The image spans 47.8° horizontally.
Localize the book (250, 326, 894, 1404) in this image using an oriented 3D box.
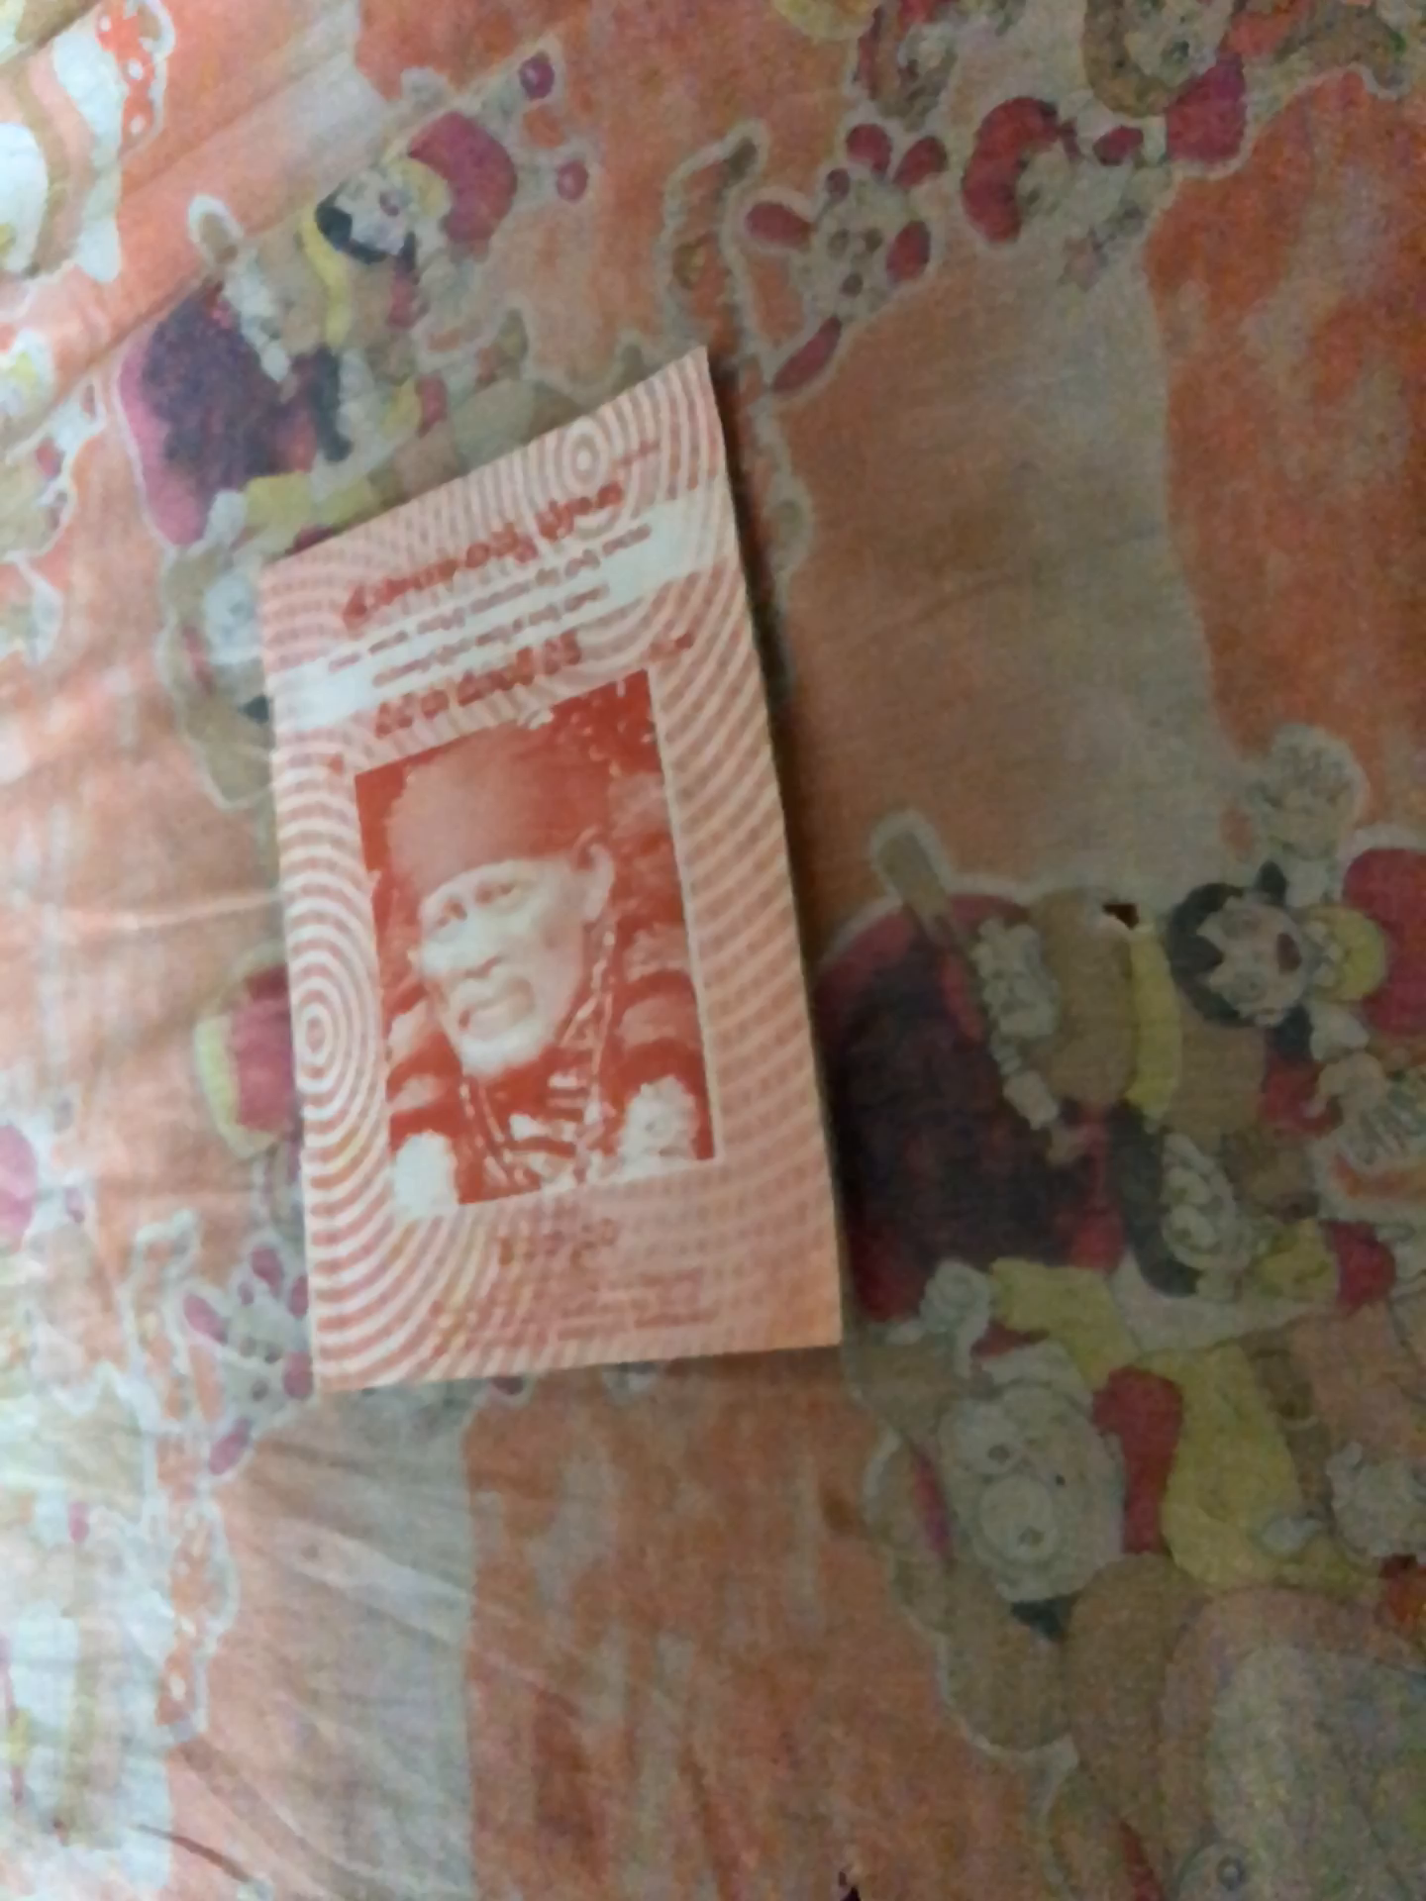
[{"bbox_3d":[-0.035,-0.010,0.294,0.120,0.010,0.173,-14,77,31],"label":"book"}]
